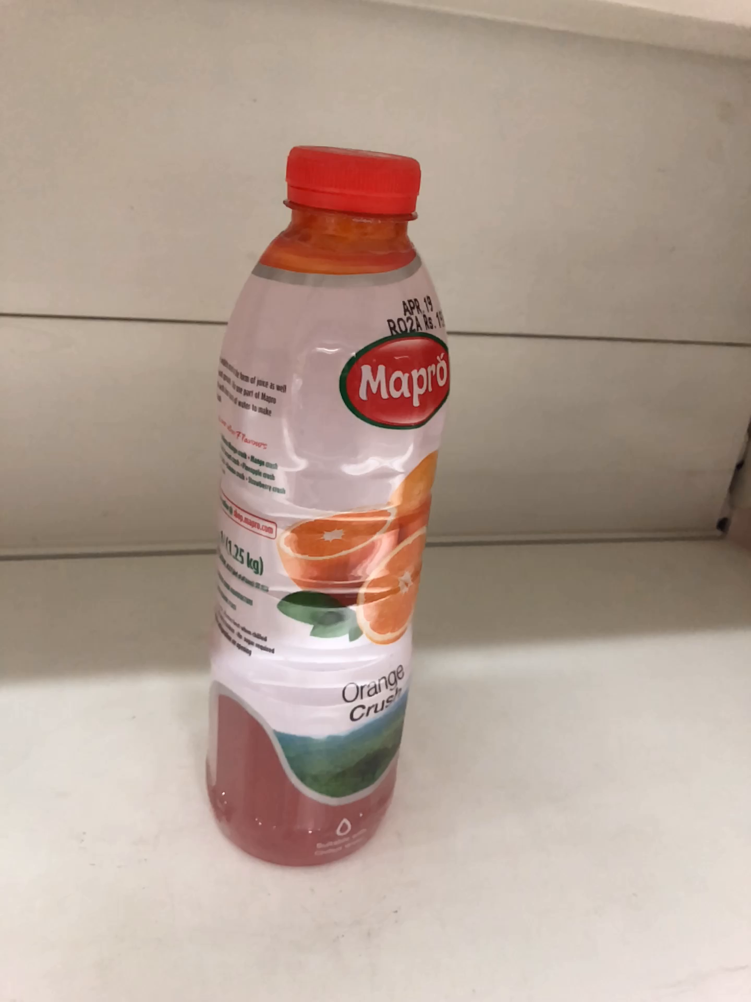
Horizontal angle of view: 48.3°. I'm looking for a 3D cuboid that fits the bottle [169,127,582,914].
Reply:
[{"bbox_3d":[-0.012,0.007,0.290,0.090,0.239,0.080,-13,30,-37],"label":"bottle"}]
